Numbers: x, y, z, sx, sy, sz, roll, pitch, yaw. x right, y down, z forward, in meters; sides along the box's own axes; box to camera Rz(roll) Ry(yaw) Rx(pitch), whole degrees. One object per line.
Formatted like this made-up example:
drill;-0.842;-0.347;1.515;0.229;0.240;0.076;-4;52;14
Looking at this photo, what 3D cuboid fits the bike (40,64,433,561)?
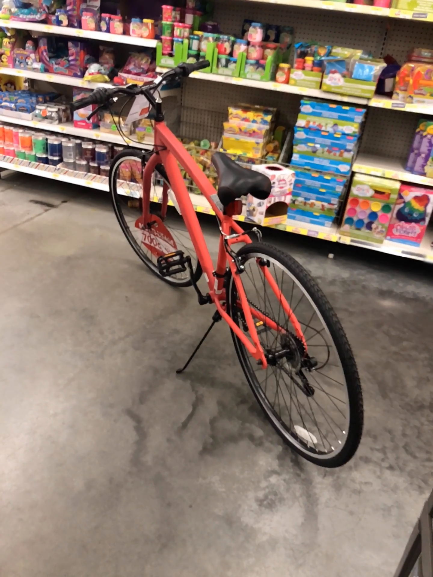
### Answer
bike;-0.093;-0.183;1.720;0.613;1.001;1.695;-11;32;-29
